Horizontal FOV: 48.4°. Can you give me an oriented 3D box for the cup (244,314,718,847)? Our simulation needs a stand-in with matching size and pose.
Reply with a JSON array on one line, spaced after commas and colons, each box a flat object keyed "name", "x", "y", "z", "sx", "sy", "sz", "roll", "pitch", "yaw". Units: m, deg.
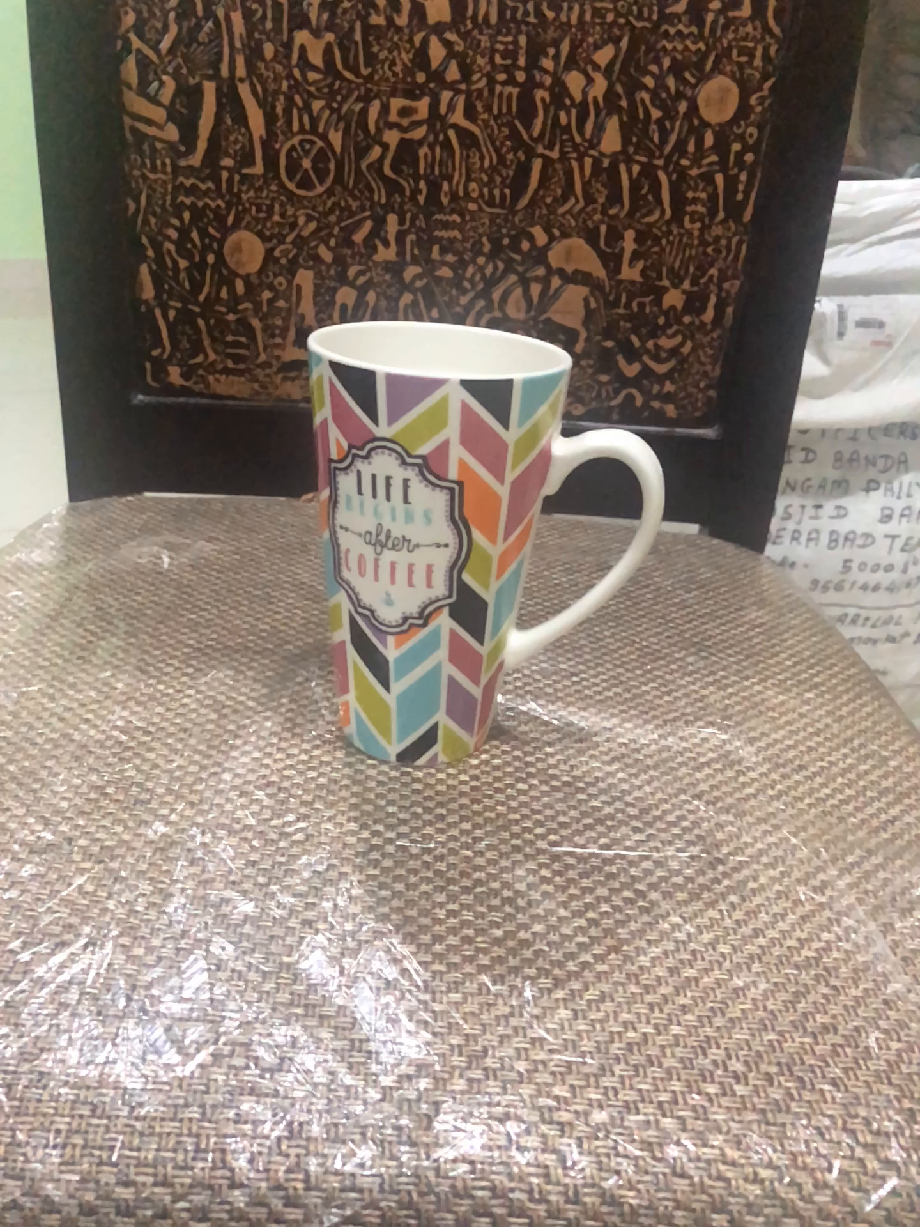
[{"name": "cup", "x": 0.006, "y": -0.019, "z": 0.354, "sx": 0.130, "sy": 0.139, "sz": 0.090, "roll": 12, "pitch": 25, "yaw": 16}]
